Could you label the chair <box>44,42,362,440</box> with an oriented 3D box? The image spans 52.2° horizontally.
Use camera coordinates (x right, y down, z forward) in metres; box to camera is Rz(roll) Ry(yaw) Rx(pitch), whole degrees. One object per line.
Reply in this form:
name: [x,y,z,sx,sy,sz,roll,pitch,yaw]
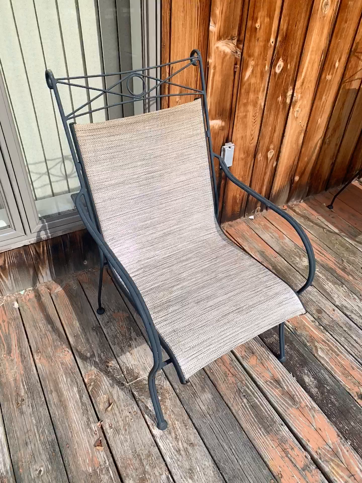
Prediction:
chair: [0.054,-0.023,1.193,0.611,0.945,0.653,-20,45,-25]
